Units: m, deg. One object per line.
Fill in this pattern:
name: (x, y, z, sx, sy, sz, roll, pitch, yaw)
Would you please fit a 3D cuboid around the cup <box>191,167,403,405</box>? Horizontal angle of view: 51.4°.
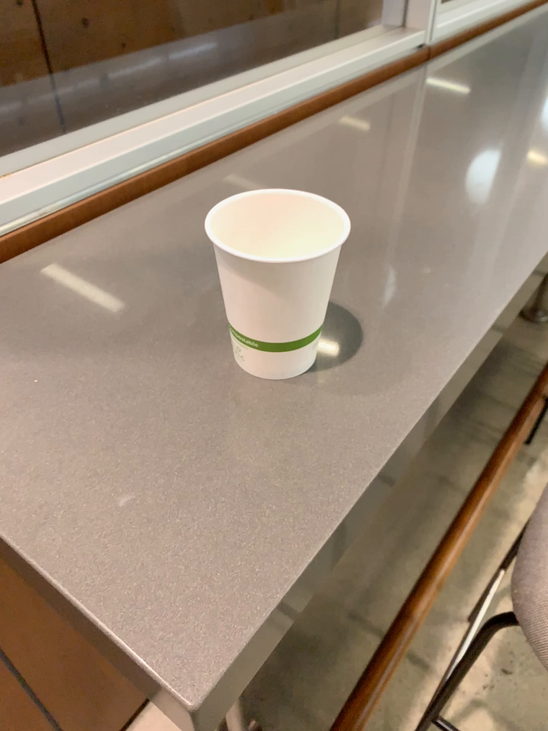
cup: (0.011, -0.054, 0.364, 0.090, 0.099, 0.090, 0, 41, 0)
